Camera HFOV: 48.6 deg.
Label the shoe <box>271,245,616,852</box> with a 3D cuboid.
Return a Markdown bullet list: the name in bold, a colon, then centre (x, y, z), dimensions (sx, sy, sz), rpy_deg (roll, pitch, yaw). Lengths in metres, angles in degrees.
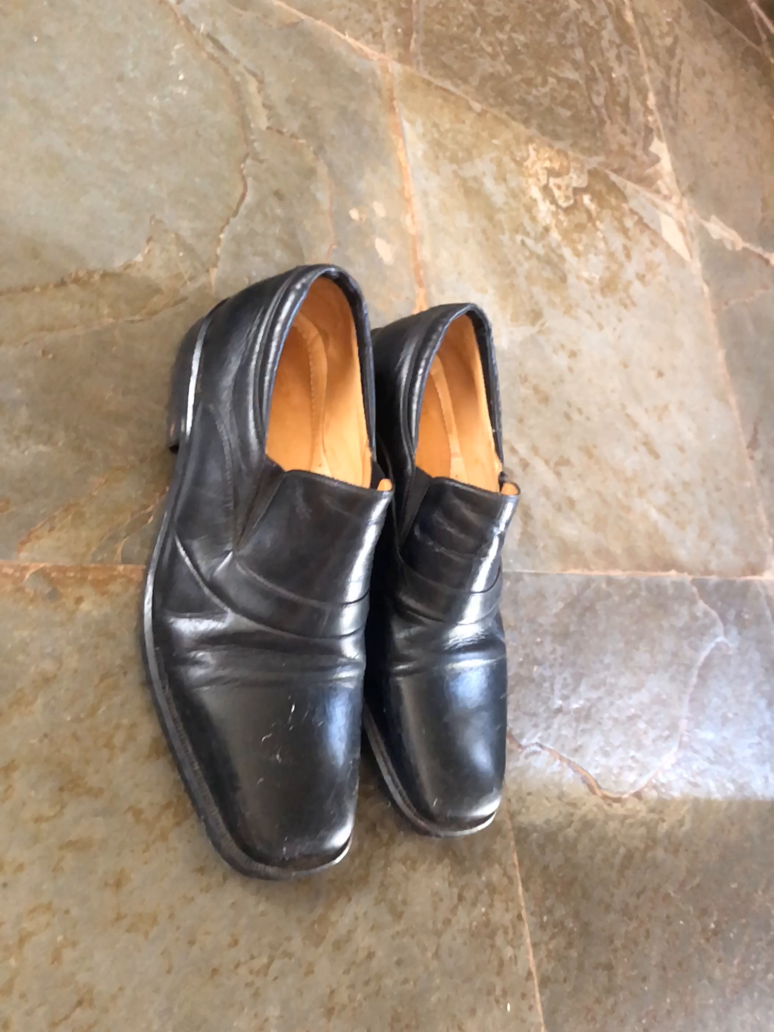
- **shoe**: centre (0.020, 0.021, 0.452), dimensions (0.101, 0.109, 0.281), rpy_deg (7, 69, -38)

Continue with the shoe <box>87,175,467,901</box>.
- **shoe**: centre (-0.060, 0.012, 0.392), dimensions (0.111, 0.109, 0.281), rpy_deg (7, 69, -39)
